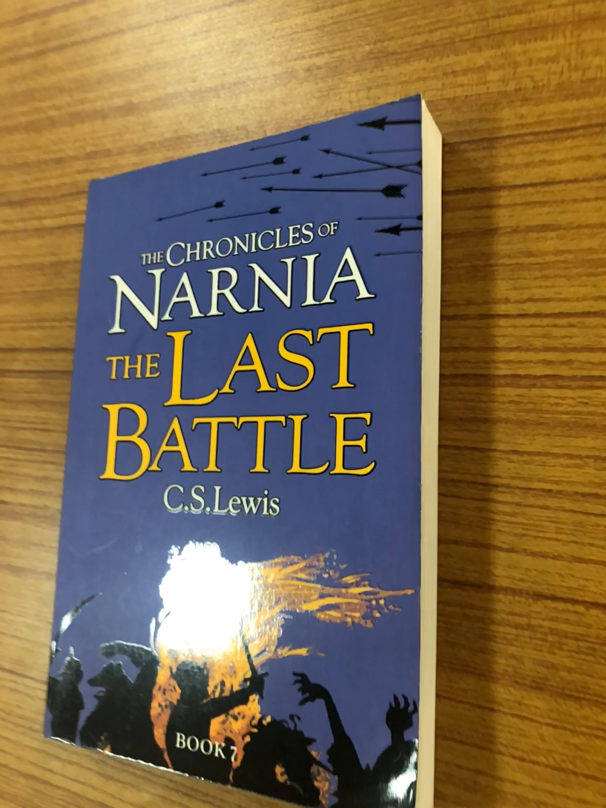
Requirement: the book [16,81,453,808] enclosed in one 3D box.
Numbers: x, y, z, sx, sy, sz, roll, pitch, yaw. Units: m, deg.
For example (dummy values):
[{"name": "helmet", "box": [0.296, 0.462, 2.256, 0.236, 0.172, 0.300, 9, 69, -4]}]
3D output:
[{"name": "book", "box": [-0.024, 0.012, 0.224, 0.141, 0.030, 0.200, -2, 82, 26]}]
